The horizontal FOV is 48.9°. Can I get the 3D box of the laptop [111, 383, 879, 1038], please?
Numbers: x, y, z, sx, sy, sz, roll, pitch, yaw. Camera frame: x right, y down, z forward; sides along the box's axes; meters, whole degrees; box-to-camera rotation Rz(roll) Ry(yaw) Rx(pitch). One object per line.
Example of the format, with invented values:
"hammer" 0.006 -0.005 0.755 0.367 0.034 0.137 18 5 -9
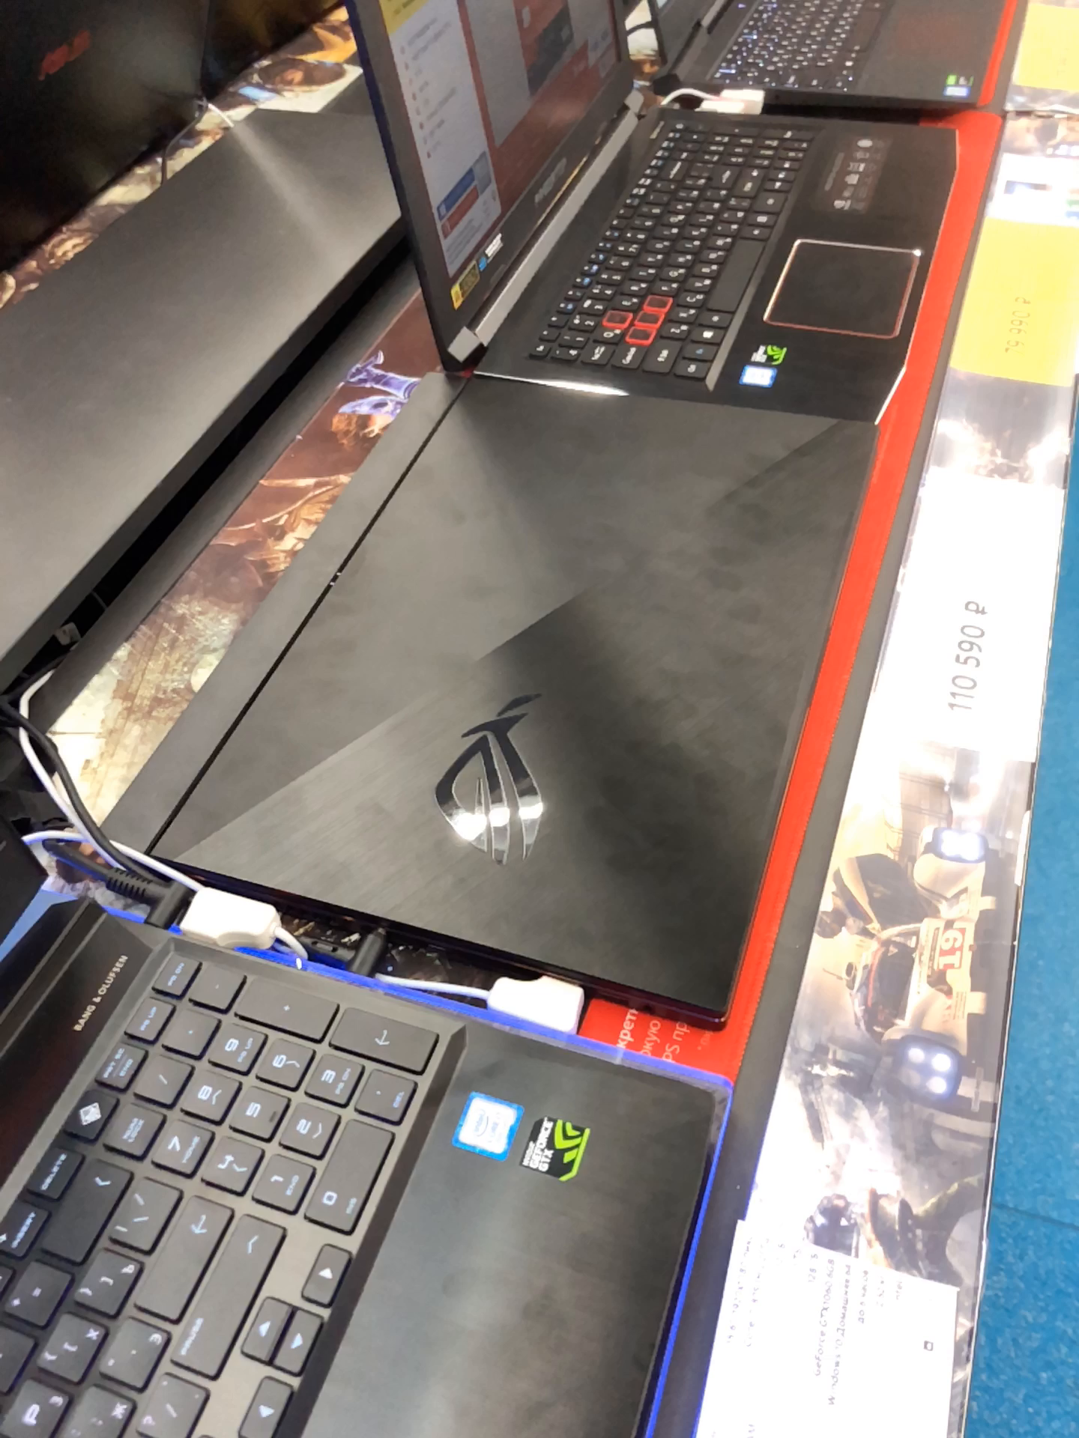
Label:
"laptop" 0.004 -0.043 0.554 0.254 0.006 0.349 13 50 15
